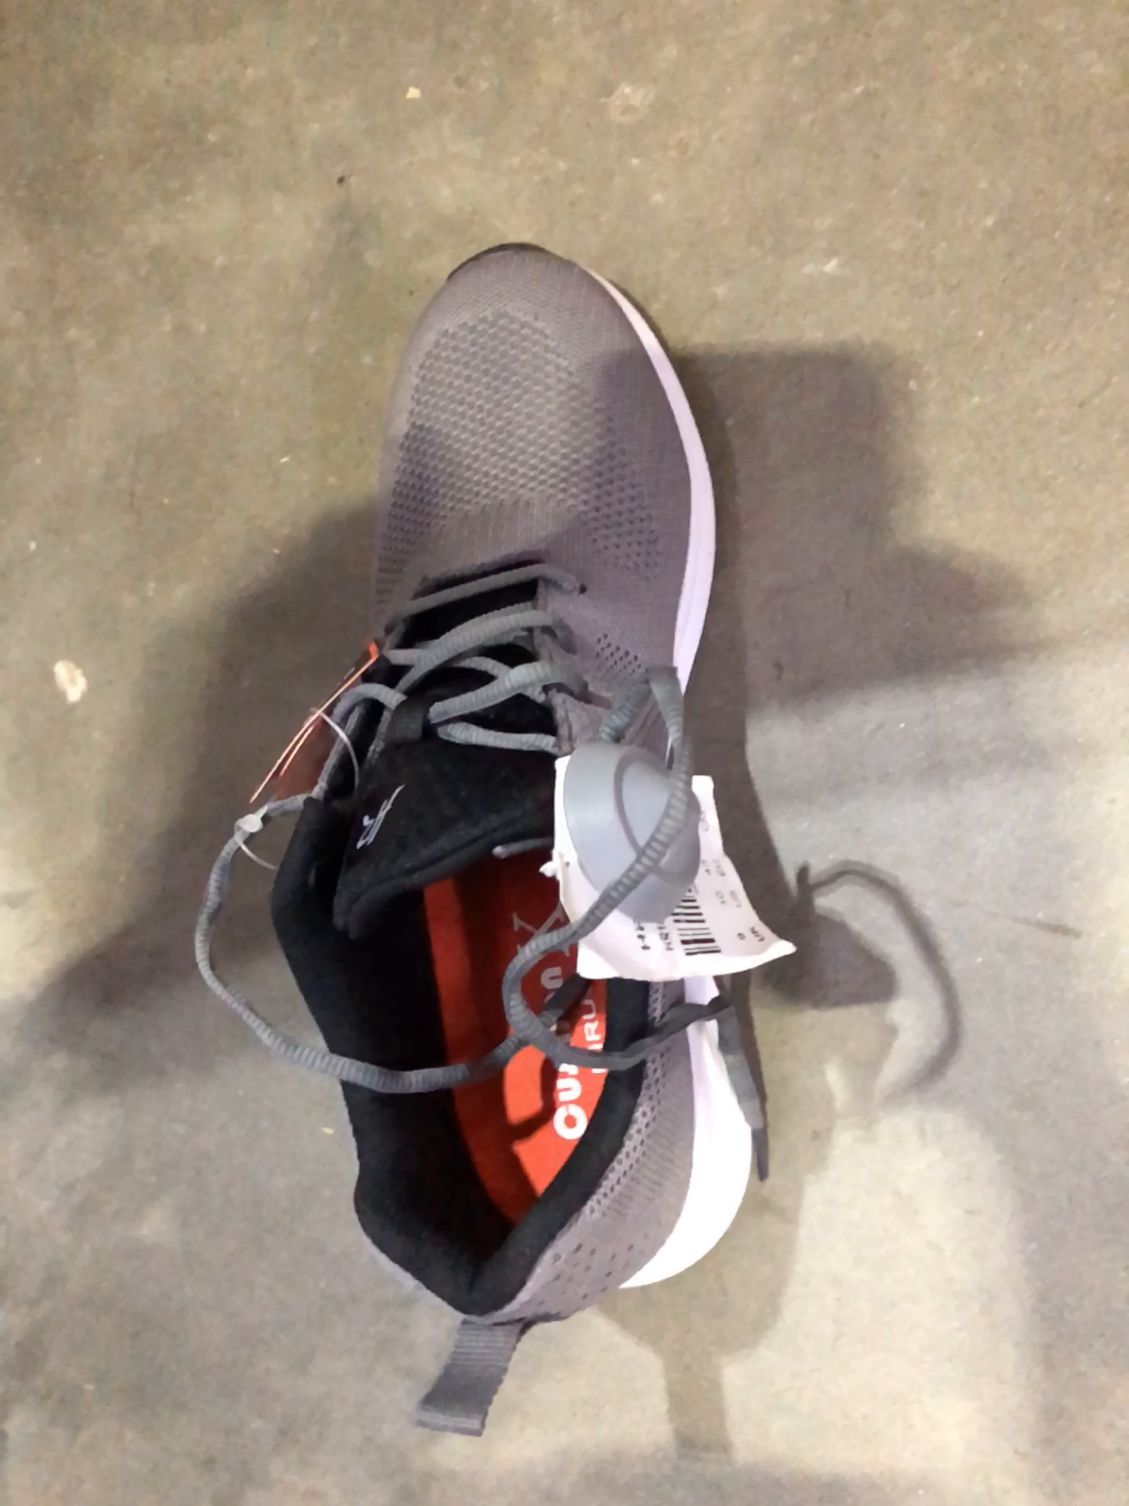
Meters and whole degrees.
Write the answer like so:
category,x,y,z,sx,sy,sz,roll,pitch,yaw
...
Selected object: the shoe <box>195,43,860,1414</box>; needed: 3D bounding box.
category,x,y,z,sx,sy,sz,roll,pitch,yaw
shoe,-0.011,-0.005,0.350,0.110,0.100,0.320,-13,79,21
